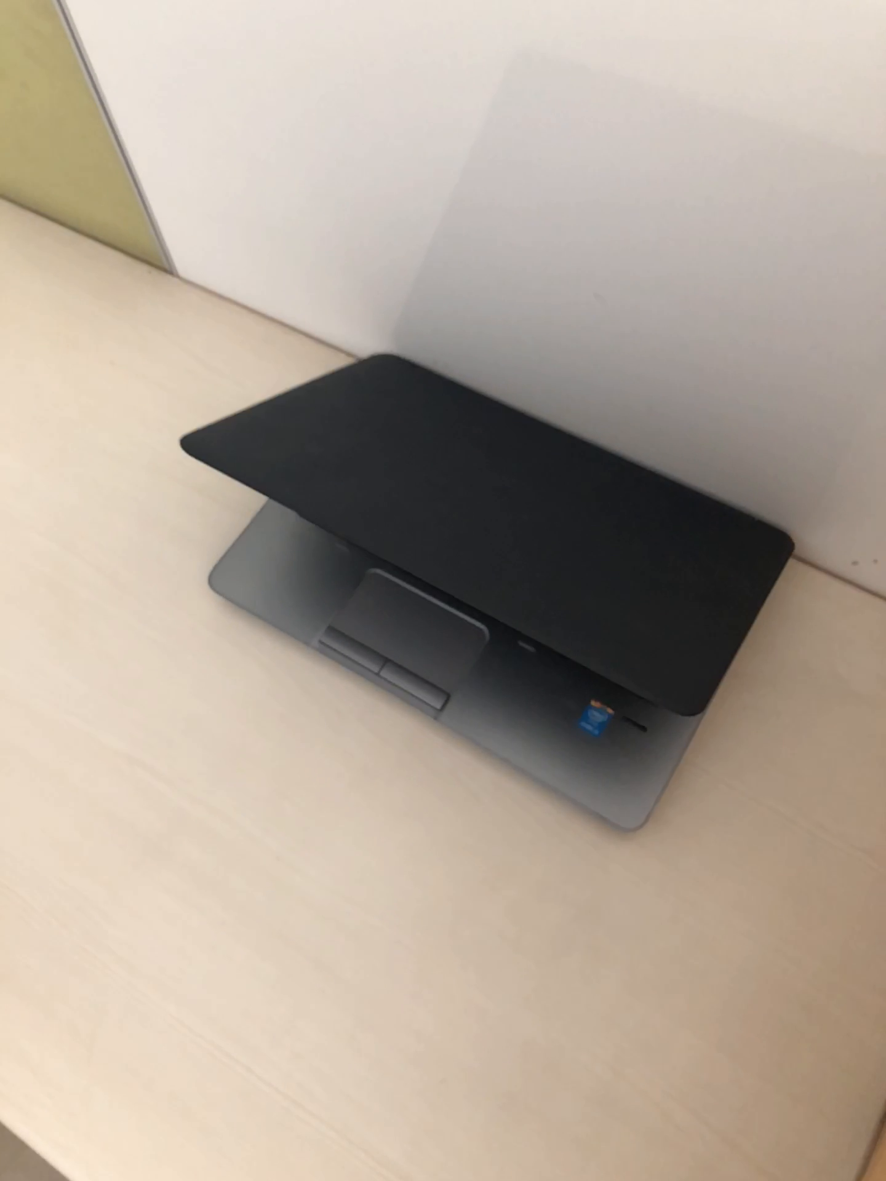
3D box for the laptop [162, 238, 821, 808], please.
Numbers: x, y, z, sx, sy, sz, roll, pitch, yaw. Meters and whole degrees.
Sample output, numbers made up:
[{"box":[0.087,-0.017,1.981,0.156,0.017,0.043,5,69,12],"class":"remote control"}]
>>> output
[{"box":[0.030,-0.051,0.629,0.320,0.118,0.220,27,70,16],"class":"laptop"}]
